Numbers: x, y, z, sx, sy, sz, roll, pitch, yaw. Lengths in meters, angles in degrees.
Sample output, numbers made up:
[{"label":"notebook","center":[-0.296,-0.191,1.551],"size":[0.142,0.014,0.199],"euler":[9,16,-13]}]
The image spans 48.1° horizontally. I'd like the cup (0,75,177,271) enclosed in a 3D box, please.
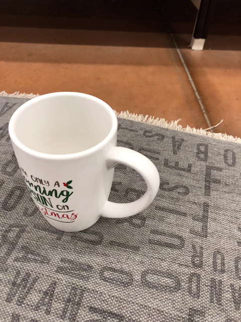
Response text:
[{"label":"cup","center":[-0.039,0.006,0.234],"size":[0.140,0.100,0.090],"euler":[17,46,13]}]
